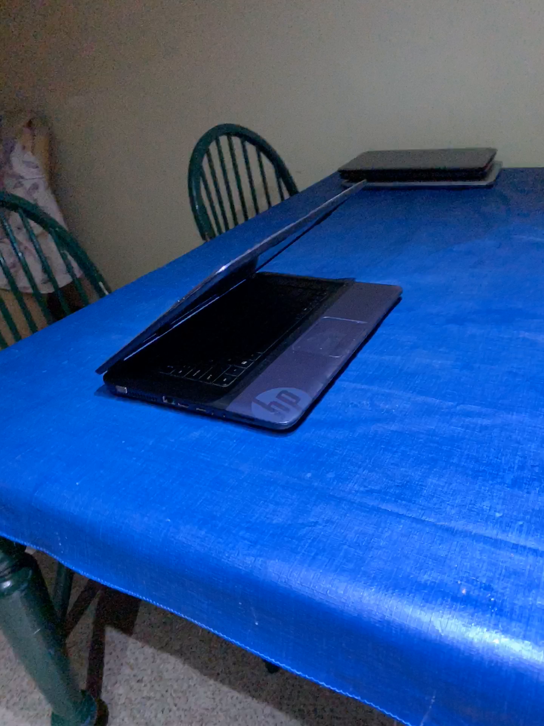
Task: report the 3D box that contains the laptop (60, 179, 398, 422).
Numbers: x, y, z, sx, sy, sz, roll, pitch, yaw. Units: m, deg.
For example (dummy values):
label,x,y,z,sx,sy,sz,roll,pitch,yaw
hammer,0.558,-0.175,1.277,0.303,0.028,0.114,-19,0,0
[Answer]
label,x,y,z,sx,sy,sz,roll,pitch,yaw
laptop,-0.017,-0.112,0.683,0.239,0.141,0.365,10,32,27
